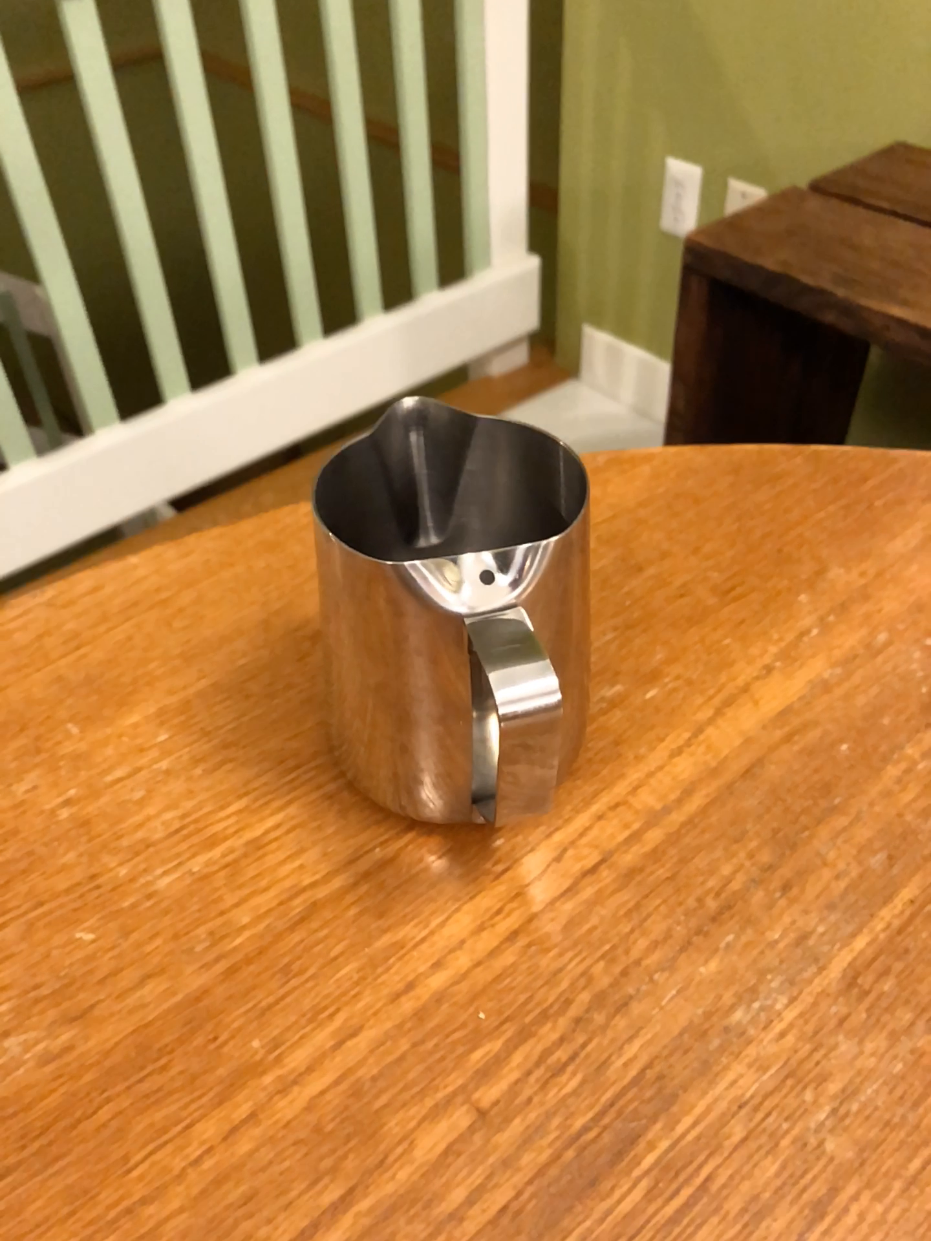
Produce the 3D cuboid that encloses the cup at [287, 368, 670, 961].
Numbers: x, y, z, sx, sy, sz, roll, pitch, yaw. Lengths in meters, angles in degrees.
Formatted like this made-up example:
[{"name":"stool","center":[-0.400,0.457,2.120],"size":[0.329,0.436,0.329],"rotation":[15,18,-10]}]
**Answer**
[{"name":"cup","center":[-0.003,0.010,0.328],"size":[0.082,0.114,0.136],"rotation":[-9,43,-7]}]
